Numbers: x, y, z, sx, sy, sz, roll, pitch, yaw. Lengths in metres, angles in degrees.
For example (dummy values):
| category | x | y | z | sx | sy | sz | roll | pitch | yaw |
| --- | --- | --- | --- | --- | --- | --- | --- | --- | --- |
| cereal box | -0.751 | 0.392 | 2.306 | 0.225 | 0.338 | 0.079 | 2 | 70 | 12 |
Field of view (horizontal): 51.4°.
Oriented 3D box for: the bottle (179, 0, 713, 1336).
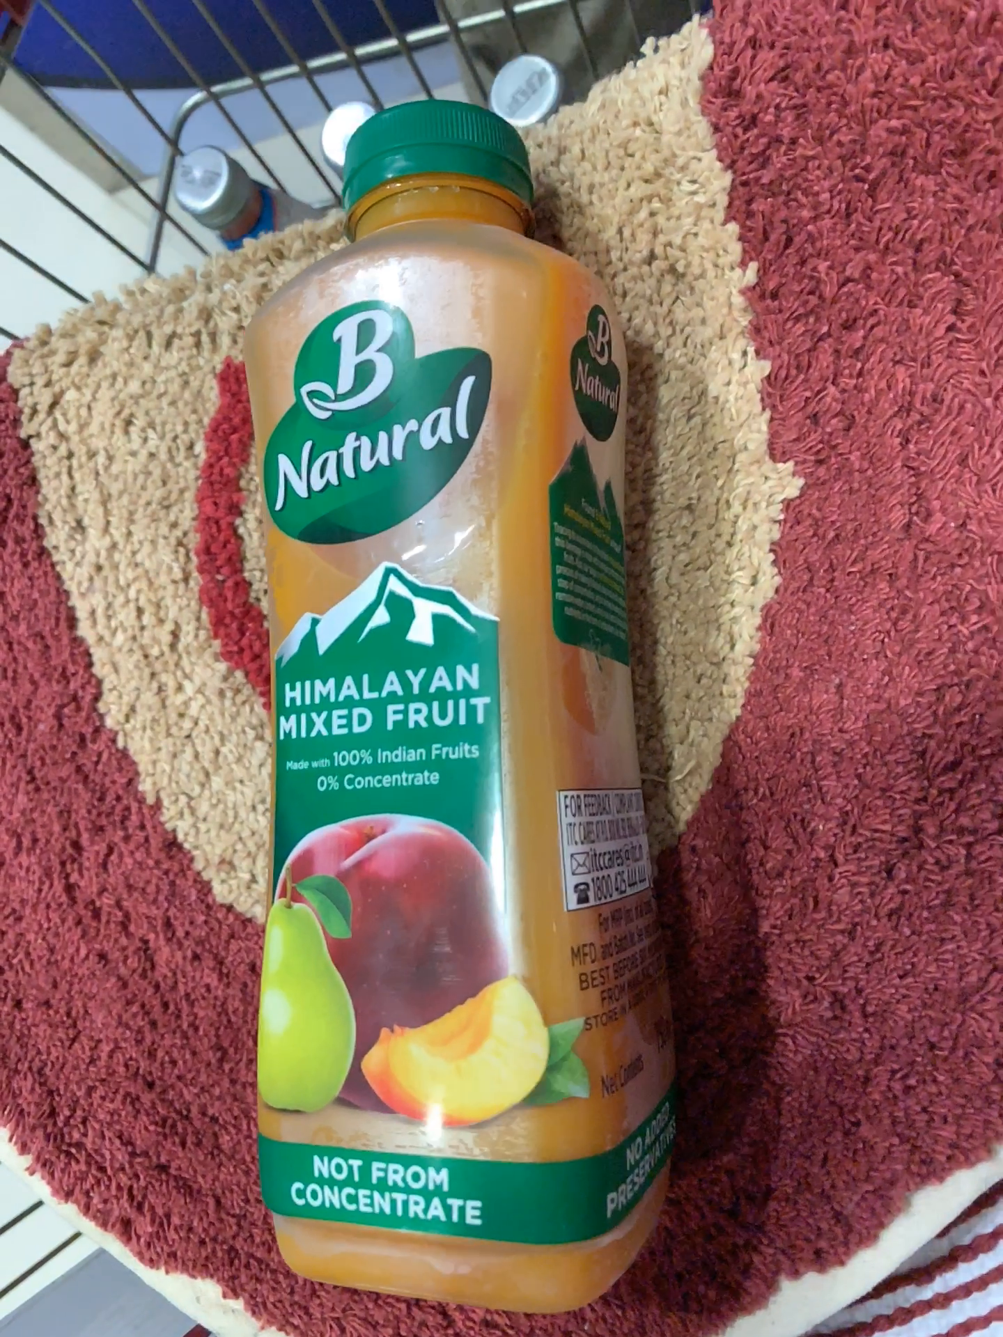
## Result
| category | x | y | z | sx | sy | sz | roll | pitch | yaw |
| --- | --- | --- | --- | --- | --- | --- | --- | --- | --- |
| bottle | -0.005 | -0.009 | 0.201 | 0.070 | 0.070 | 0.230 | -4 | 79 | 21 |
